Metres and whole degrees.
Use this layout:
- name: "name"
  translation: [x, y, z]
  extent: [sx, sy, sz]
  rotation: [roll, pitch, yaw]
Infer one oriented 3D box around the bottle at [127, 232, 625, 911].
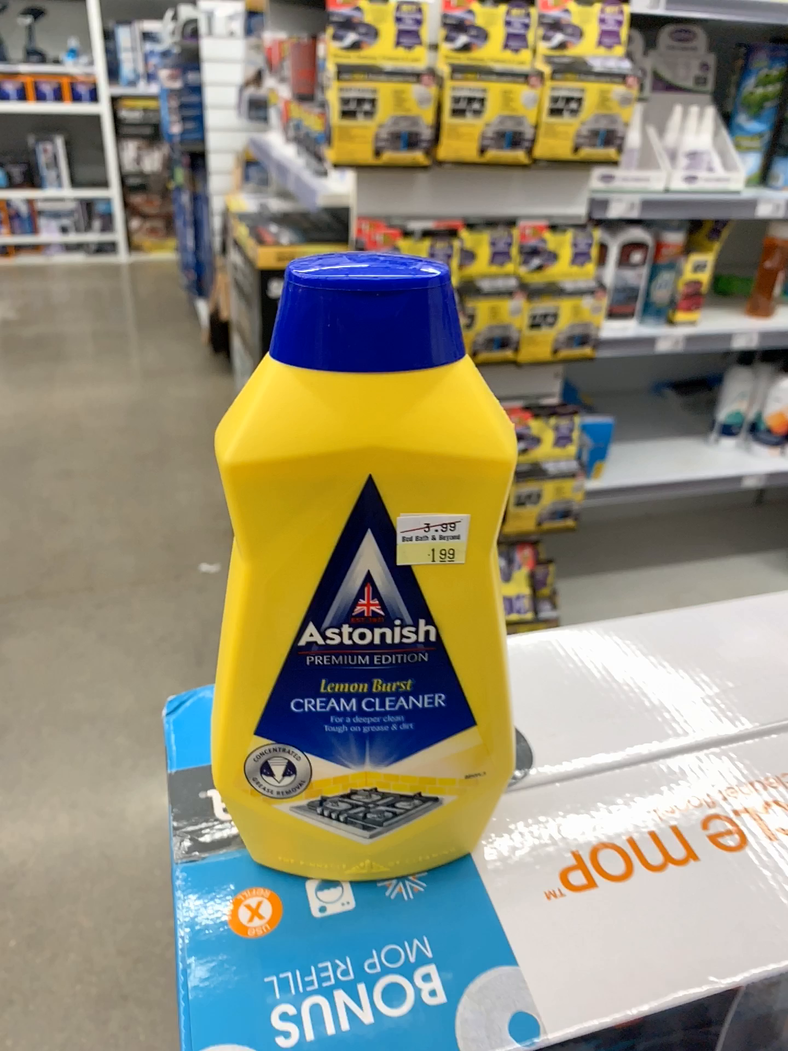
- name: "bottle"
  translation: [-0.009, 0.021, 0.238]
  extent: [0.100, 0.189, 0.060]
  rotation: [-1, 30, -6]
